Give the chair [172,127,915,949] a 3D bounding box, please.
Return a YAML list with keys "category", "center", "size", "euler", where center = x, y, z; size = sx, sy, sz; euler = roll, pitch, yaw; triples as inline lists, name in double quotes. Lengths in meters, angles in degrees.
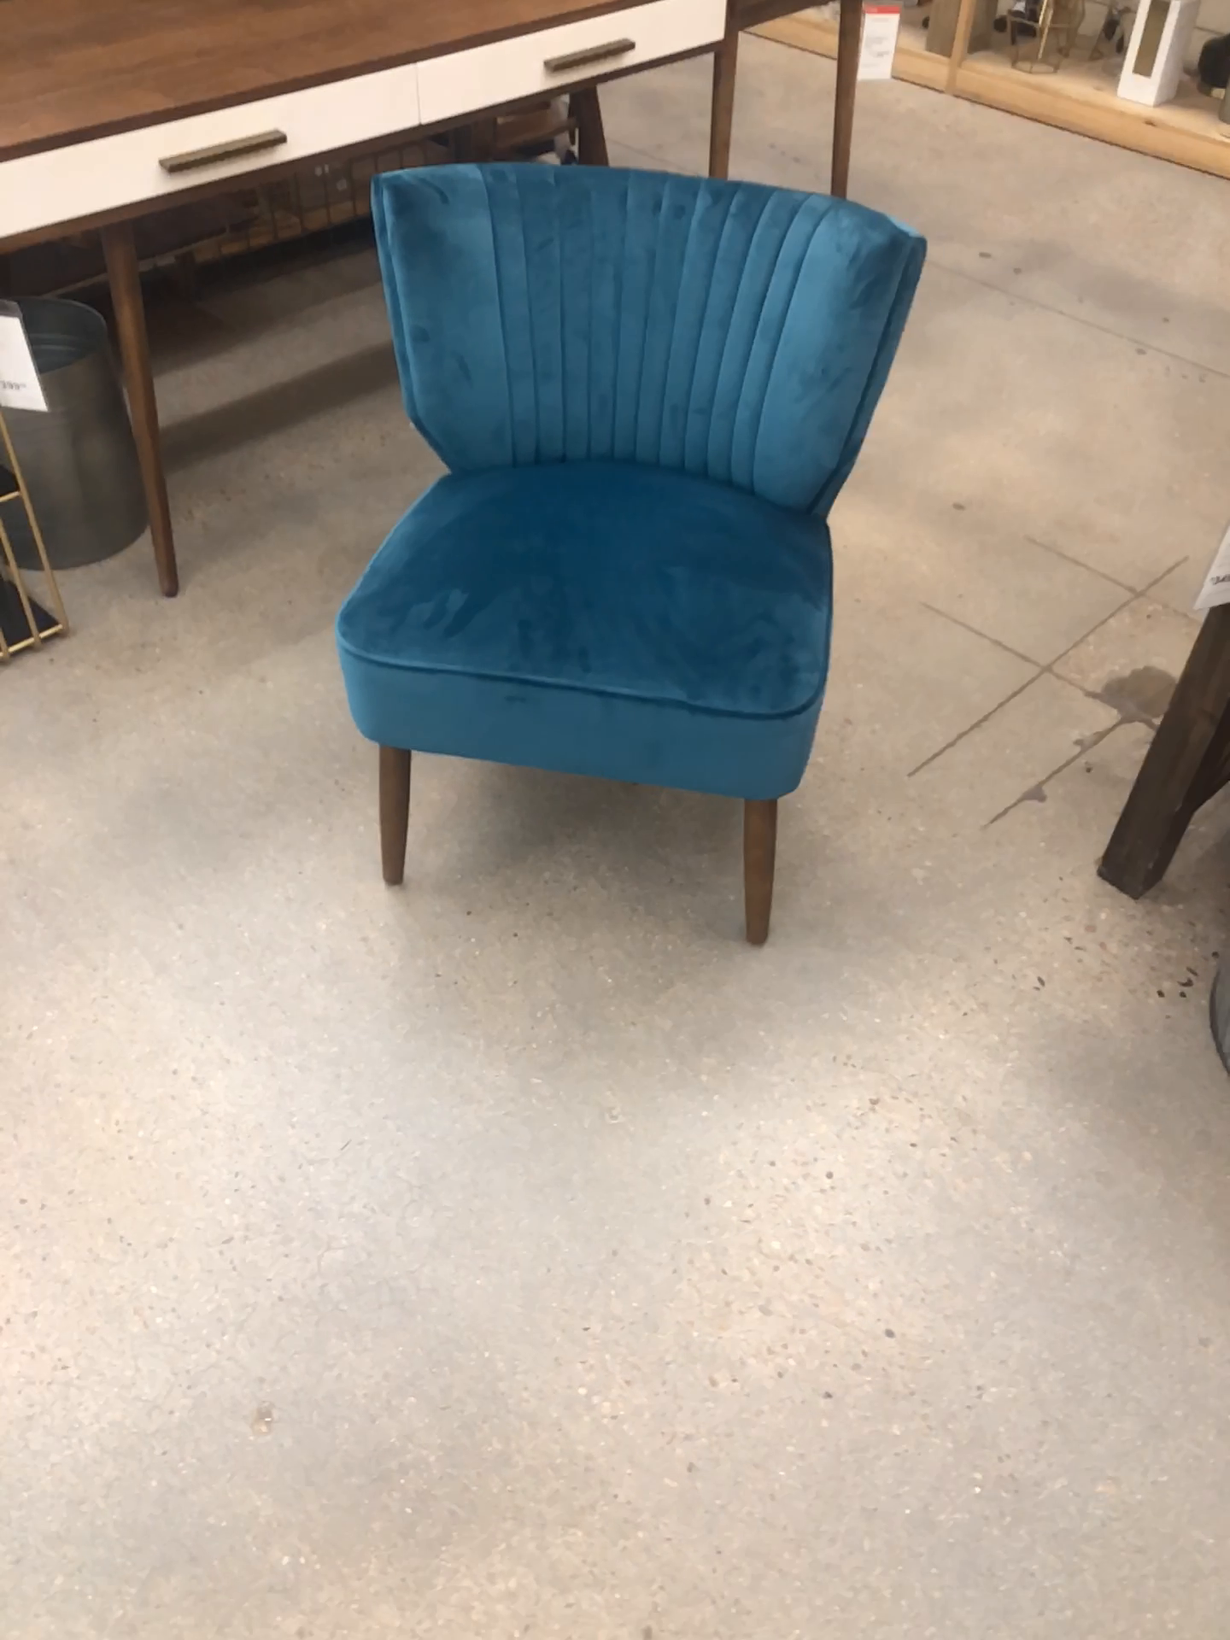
- category: "chair"
  center: [-0.028, -0.359, 1.666]
  size: [0.660, 0.677, 0.663]
  euler: [8, 45, 7]
